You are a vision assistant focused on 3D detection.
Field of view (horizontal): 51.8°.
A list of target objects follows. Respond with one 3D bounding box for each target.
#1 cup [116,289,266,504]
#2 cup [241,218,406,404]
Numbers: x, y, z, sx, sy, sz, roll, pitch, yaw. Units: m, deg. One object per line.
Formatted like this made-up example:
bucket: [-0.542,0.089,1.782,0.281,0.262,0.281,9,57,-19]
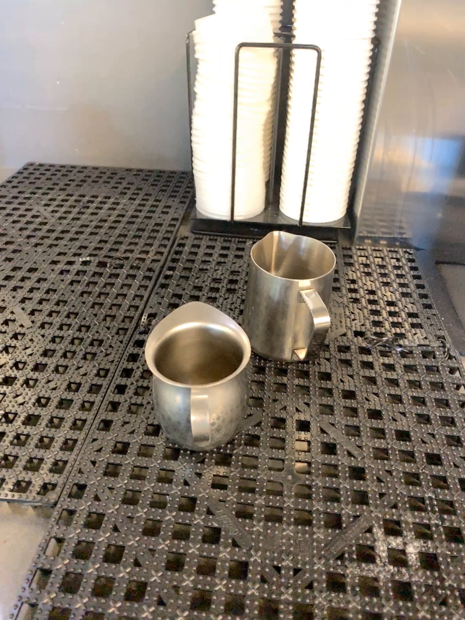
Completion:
cup: [-0.031,0.051,0.324,0.080,0.070,0.121,-4,37,-8]
cup: [0.059,-0.005,0.367,0.080,0.080,0.121,-5,37,-9]
